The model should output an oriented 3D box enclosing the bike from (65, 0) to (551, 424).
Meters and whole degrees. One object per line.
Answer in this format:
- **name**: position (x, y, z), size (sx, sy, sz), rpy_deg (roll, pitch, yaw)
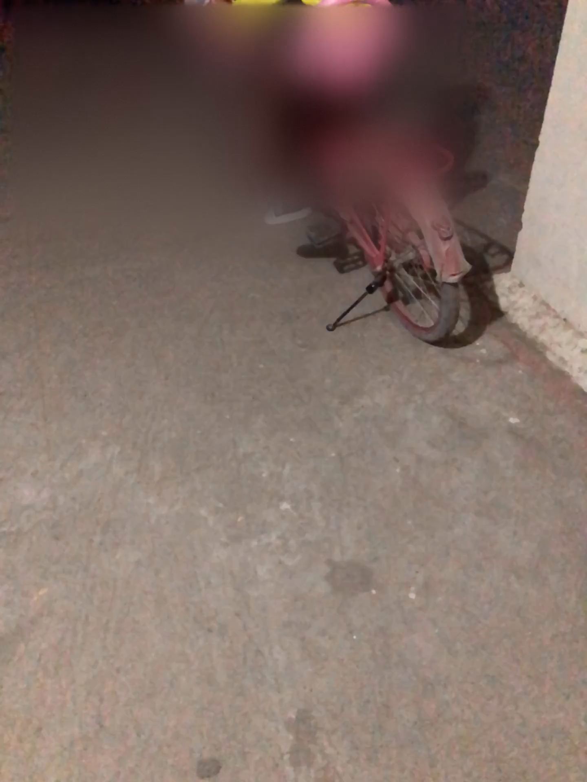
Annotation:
- **bike**: position (-0.086, -0.716, 1.740), size (0.495, 0.910, 1.282), rpy_deg (-20, 45, -20)
